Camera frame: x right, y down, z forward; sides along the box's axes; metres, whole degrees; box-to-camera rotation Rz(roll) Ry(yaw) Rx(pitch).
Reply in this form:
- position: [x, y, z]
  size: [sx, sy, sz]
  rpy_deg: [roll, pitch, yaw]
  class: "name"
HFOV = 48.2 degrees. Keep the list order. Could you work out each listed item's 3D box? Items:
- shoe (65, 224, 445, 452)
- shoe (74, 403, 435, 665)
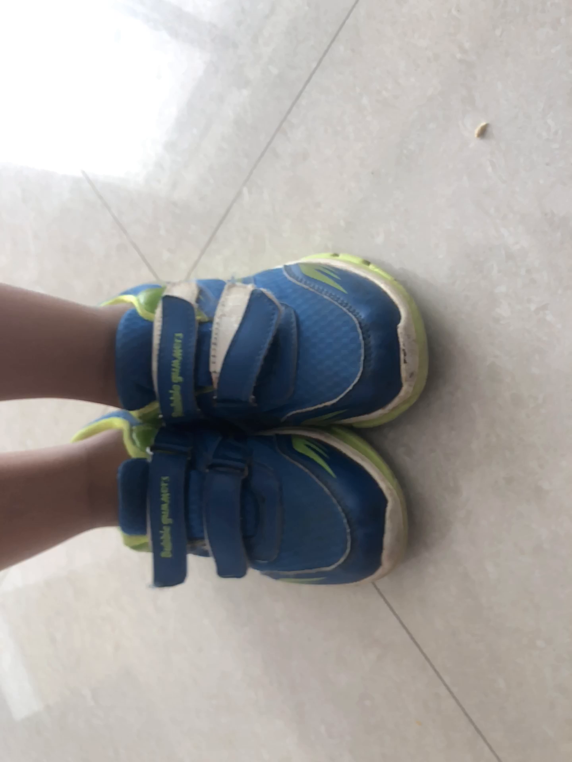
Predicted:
- position: [-0.031, -0.023, 0.346]
  size: [0.221, 0.060, 0.090]
  rpy_deg: [3, 95, 39]
  class: "shoe"
- position: [-0.032, 0.069, 0.366]
  size: [0.221, 0.060, 0.090]
  rpy_deg: [5, 96, 39]
  class: "shoe"
